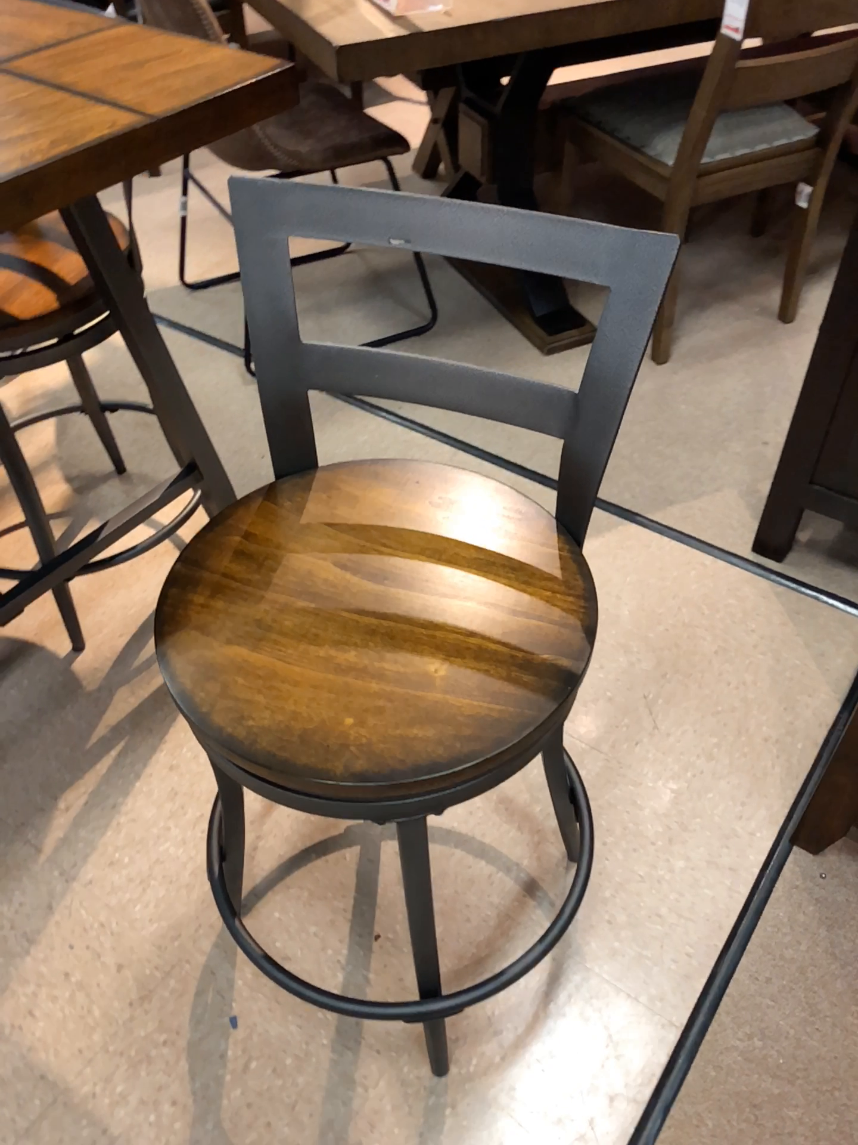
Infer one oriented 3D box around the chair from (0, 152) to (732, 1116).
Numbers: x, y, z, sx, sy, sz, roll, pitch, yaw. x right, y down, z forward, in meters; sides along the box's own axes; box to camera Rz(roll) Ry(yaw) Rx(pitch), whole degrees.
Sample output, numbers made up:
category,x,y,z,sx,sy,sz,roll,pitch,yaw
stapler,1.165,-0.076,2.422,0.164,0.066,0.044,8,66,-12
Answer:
category,x,y,z,sx,sy,sz,roll,pitch,yaw
chair,-0.056,0.097,0.960,0.491,0.805,0.462,14,47,15
